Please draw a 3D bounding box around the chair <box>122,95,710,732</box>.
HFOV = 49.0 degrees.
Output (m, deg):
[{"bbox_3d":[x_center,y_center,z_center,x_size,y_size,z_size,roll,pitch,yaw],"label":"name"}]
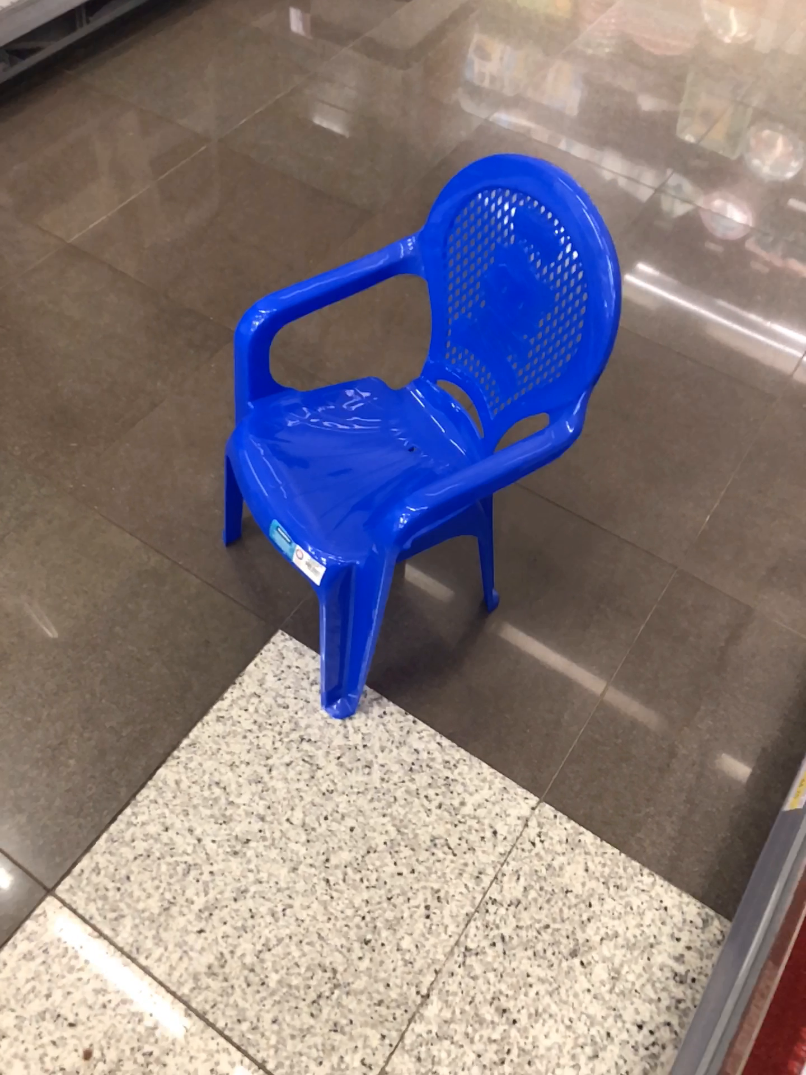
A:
[{"bbox_3d":[-0.005,-0.117,0.995,0.401,0.507,0.351,-25,60,-18],"label":"chair"}]
